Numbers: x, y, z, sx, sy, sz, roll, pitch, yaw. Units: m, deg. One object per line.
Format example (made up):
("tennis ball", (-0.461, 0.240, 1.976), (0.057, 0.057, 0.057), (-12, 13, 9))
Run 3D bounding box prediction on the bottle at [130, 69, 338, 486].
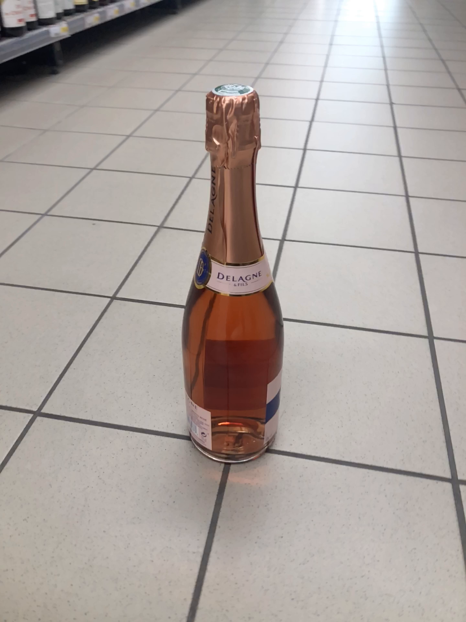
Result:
("bottle", (-0.005, -0.012, 0.386), (0.090, 0.288, 0.100), (-14, 38, -19))
